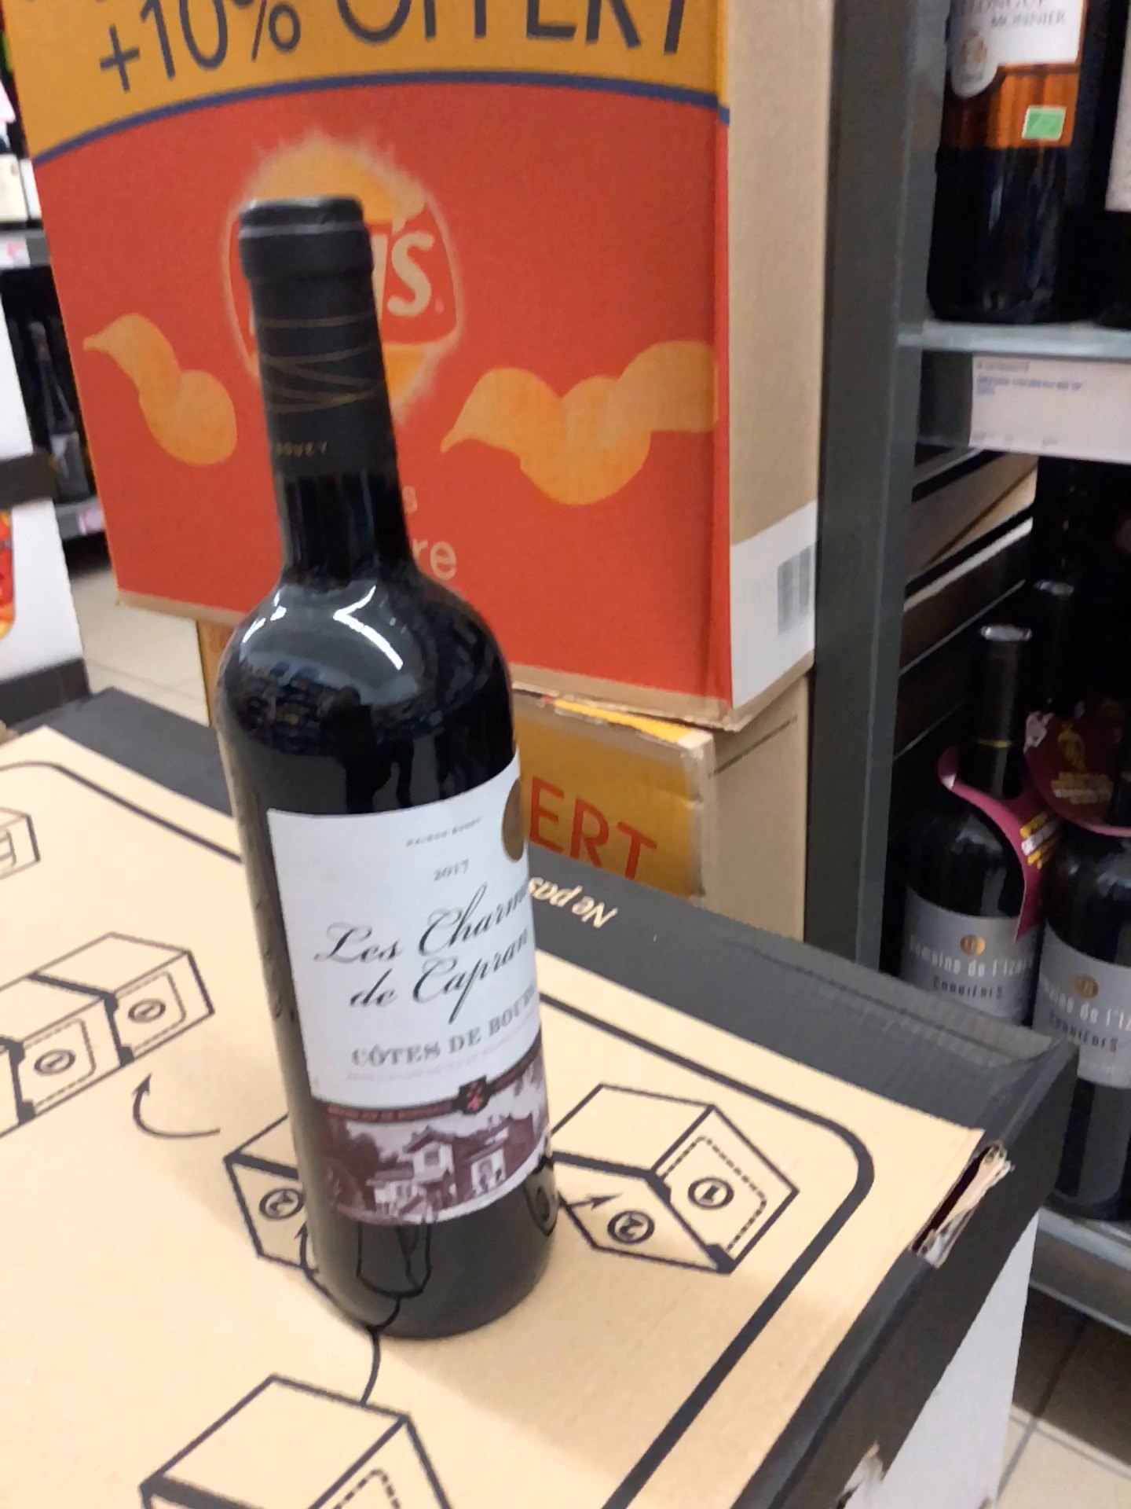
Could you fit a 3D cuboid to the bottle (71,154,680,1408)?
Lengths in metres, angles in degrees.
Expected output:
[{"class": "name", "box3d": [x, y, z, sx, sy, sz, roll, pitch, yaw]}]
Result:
[{"class": "bottle", "box3d": [-0.036, 0.010, 0.319, 0.090, 0.288, 0.090, -2, 24, 1]}]
